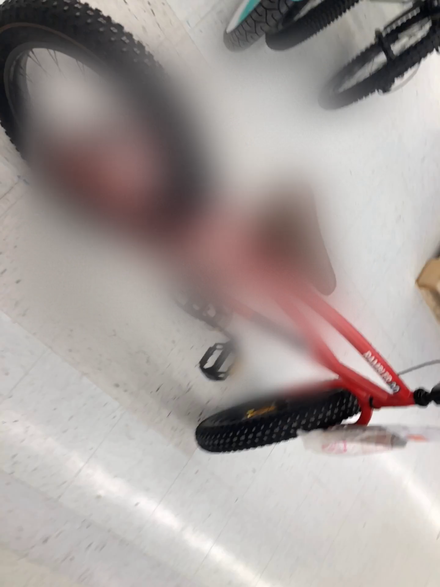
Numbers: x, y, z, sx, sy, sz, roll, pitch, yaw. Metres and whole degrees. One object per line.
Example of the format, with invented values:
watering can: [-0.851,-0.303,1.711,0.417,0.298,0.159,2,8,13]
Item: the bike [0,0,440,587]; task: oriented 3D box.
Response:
bike: [0.083,-0.048,1.082,0.608,0.969,1.360,-53,125,-18]
